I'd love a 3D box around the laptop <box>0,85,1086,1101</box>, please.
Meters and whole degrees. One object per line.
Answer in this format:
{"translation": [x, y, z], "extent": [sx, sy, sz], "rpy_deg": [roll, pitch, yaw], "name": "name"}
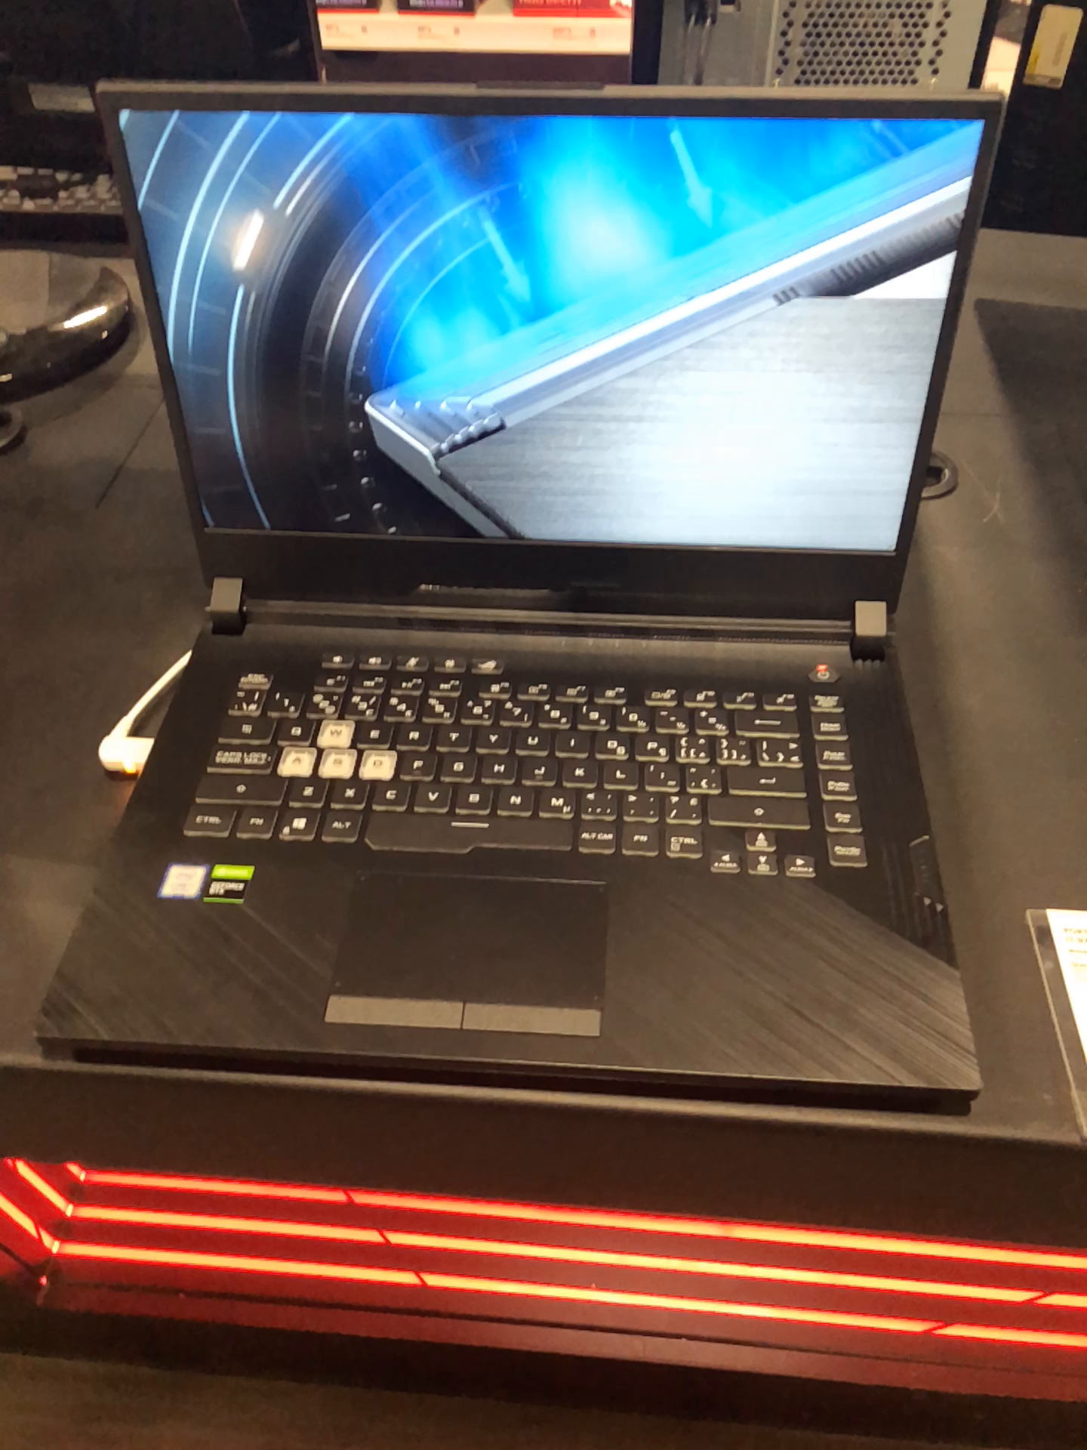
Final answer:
{"translation": [-0.011, -0.060, 0.451], "extent": [0.350, 0.243, 0.281], "rpy_deg": [3, 45, 3], "name": "laptop"}
